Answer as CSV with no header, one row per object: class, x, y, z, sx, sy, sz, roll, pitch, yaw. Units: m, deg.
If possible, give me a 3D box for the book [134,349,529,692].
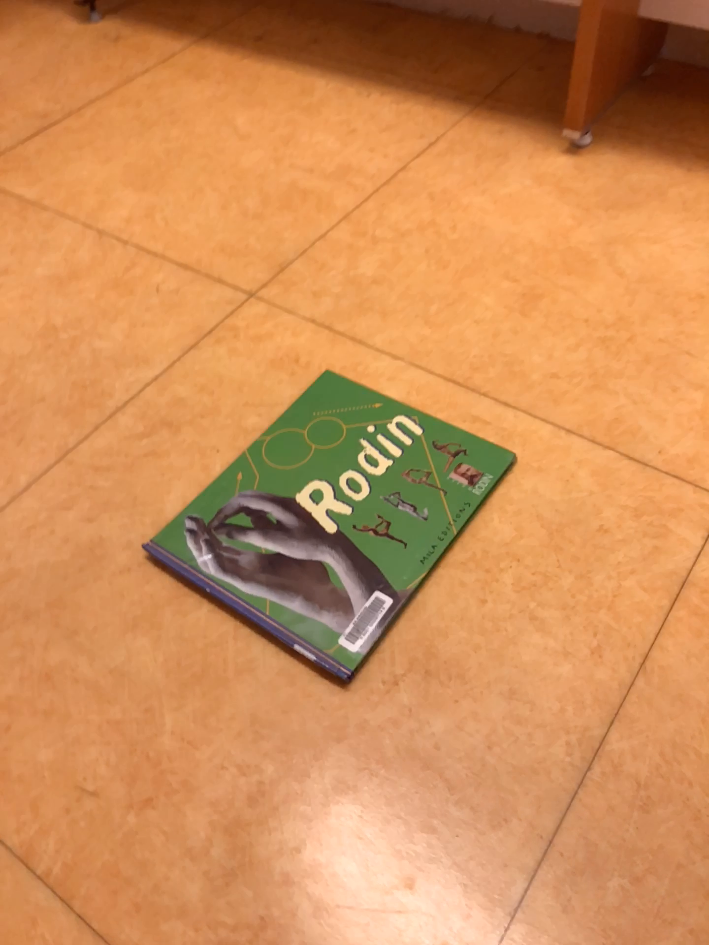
book,-0.012,0.018,0.609,0.200,0.030,0.244,27,57,25
